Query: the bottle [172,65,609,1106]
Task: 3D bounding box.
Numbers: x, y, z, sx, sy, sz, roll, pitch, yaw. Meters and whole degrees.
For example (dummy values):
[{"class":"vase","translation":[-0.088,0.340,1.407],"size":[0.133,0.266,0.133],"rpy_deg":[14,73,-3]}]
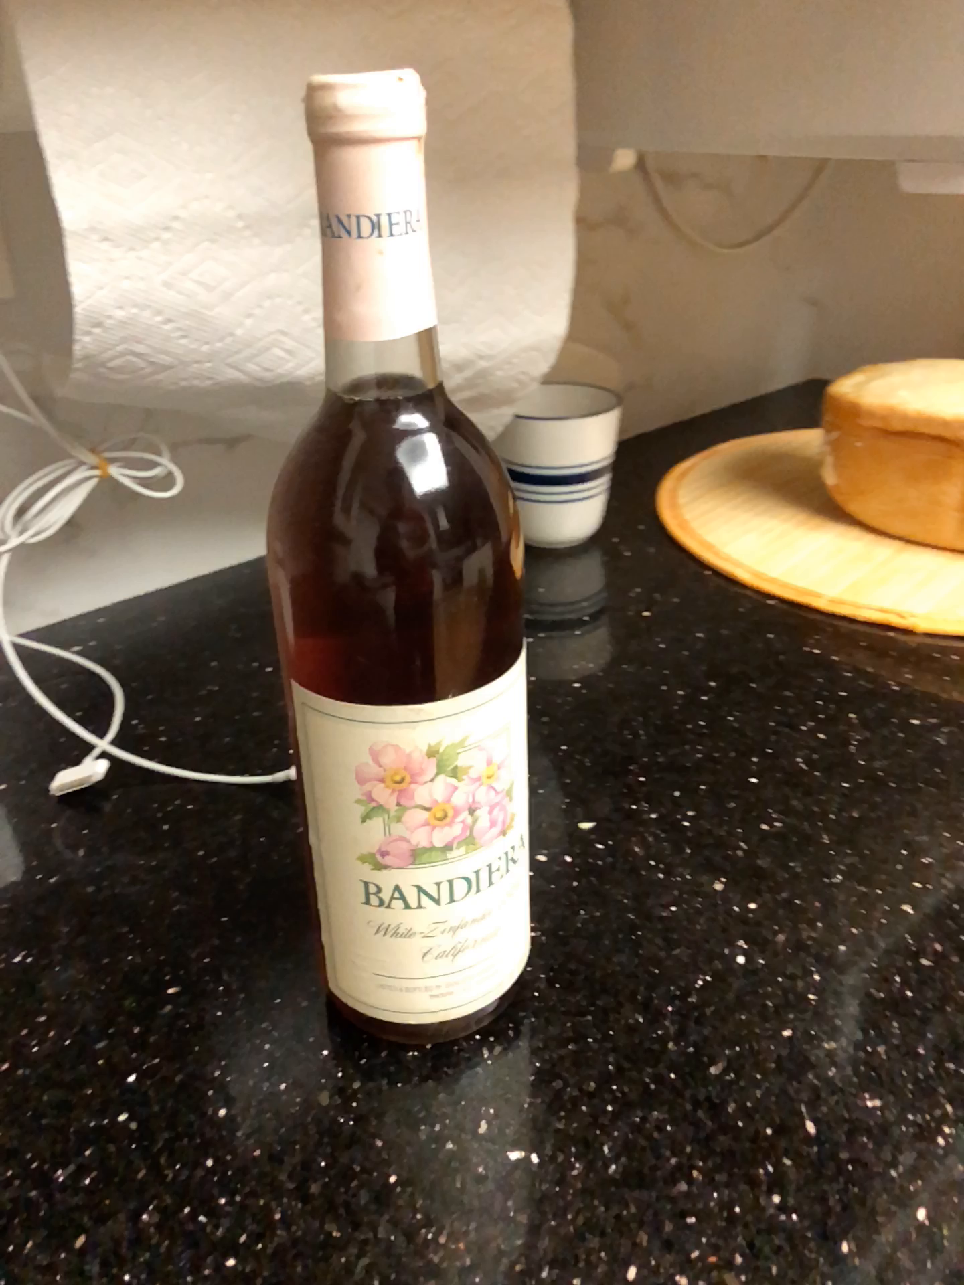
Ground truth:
[{"class":"bottle","translation":[-0.021,-0.007,0.308],"size":[0.080,0.278,0.080],"rpy_deg":[-1,27,1]}]
